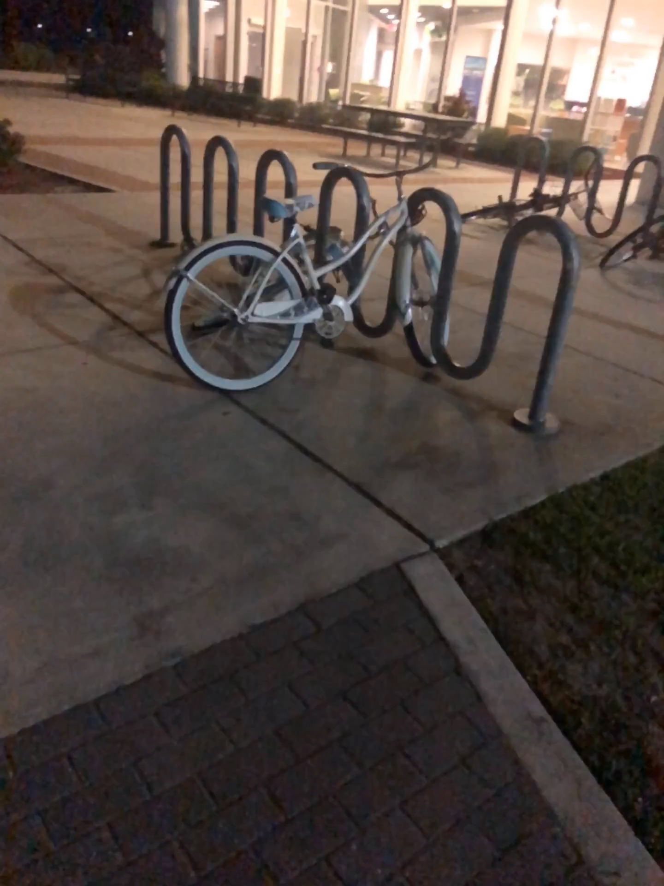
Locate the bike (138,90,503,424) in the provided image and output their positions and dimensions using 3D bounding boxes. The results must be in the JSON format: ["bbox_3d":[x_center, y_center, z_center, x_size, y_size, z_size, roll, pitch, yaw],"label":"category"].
[{"bbox_3d":[-0.053,-1.007,3.457,1.683,1.094,0.742,-20,36,-36],"label":"bike"}]
